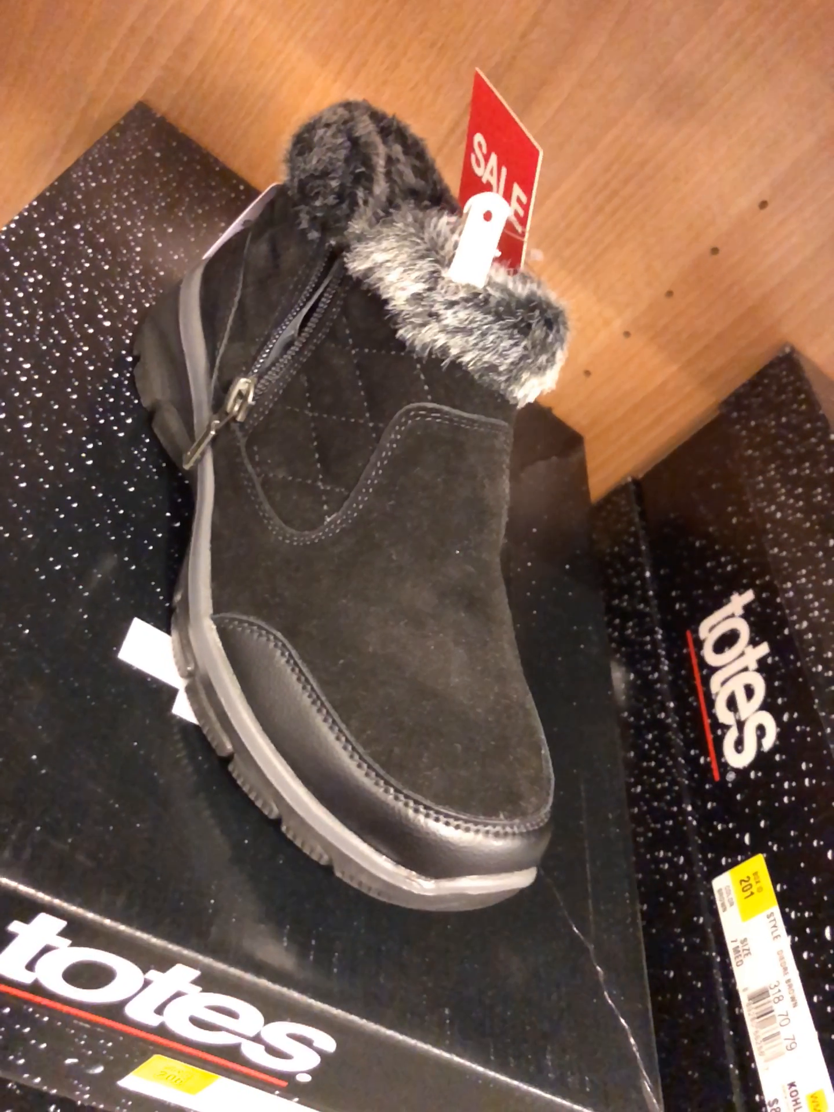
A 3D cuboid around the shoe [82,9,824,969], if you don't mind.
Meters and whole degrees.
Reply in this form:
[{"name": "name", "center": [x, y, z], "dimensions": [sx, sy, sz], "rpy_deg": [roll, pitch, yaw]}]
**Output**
[{"name": "shoe", "center": [-0.009, -0.028, 0.292], "dimensions": [0.105, 0.112, 0.249], "rpy_deg": [9, 49, -44]}]
